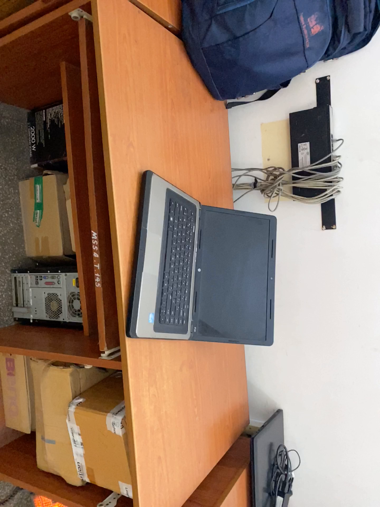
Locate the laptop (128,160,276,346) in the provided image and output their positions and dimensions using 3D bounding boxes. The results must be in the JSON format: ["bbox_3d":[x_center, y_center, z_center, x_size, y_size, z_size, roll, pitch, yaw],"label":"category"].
[{"bbox_3d":[0.065,0.036,0.999,0.428,0.158,0.383,22,69,-56],"label":"laptop"}]
